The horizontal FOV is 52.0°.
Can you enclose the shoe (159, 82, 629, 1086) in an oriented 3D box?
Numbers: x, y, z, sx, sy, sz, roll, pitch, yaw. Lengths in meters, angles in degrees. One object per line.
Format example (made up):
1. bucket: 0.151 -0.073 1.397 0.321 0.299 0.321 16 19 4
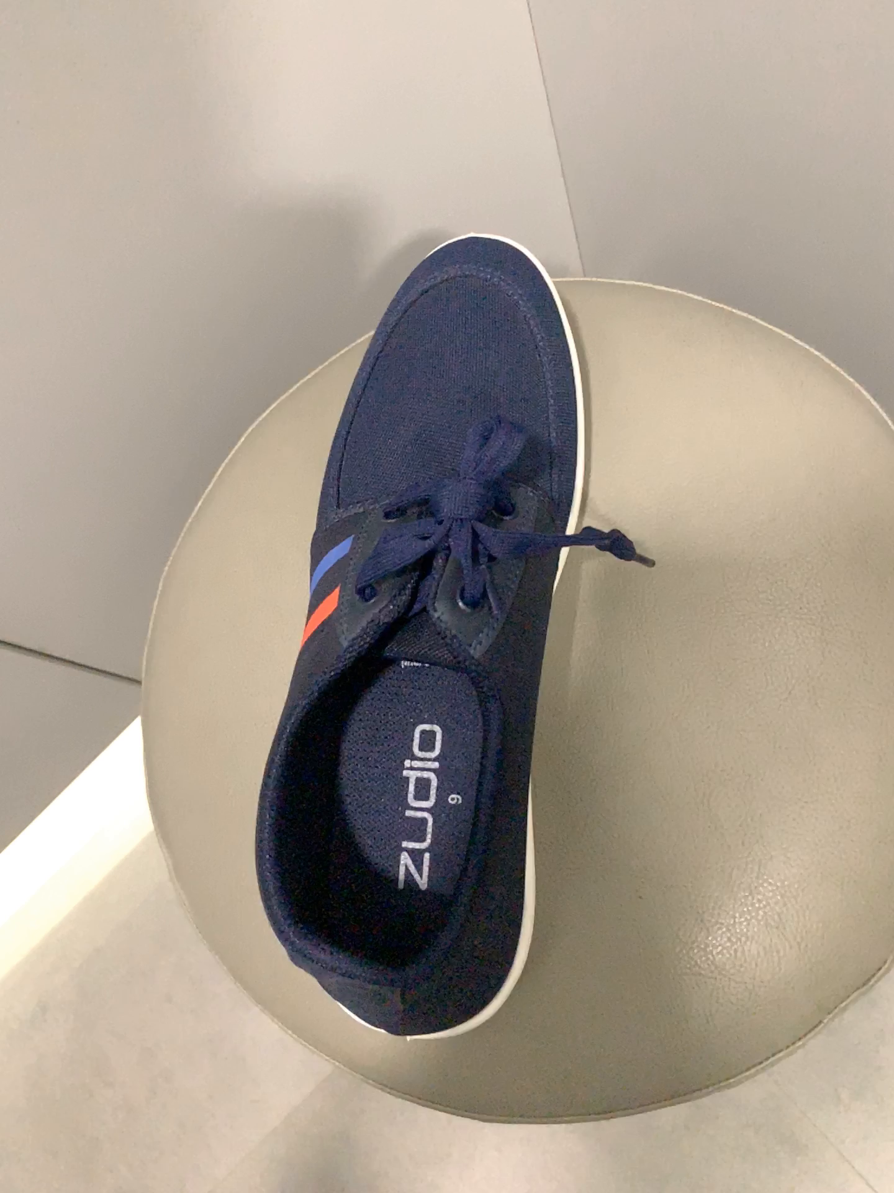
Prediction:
1. shoe: -0.002 -0.011 0.316 0.100 0.100 0.290 3 76 16
